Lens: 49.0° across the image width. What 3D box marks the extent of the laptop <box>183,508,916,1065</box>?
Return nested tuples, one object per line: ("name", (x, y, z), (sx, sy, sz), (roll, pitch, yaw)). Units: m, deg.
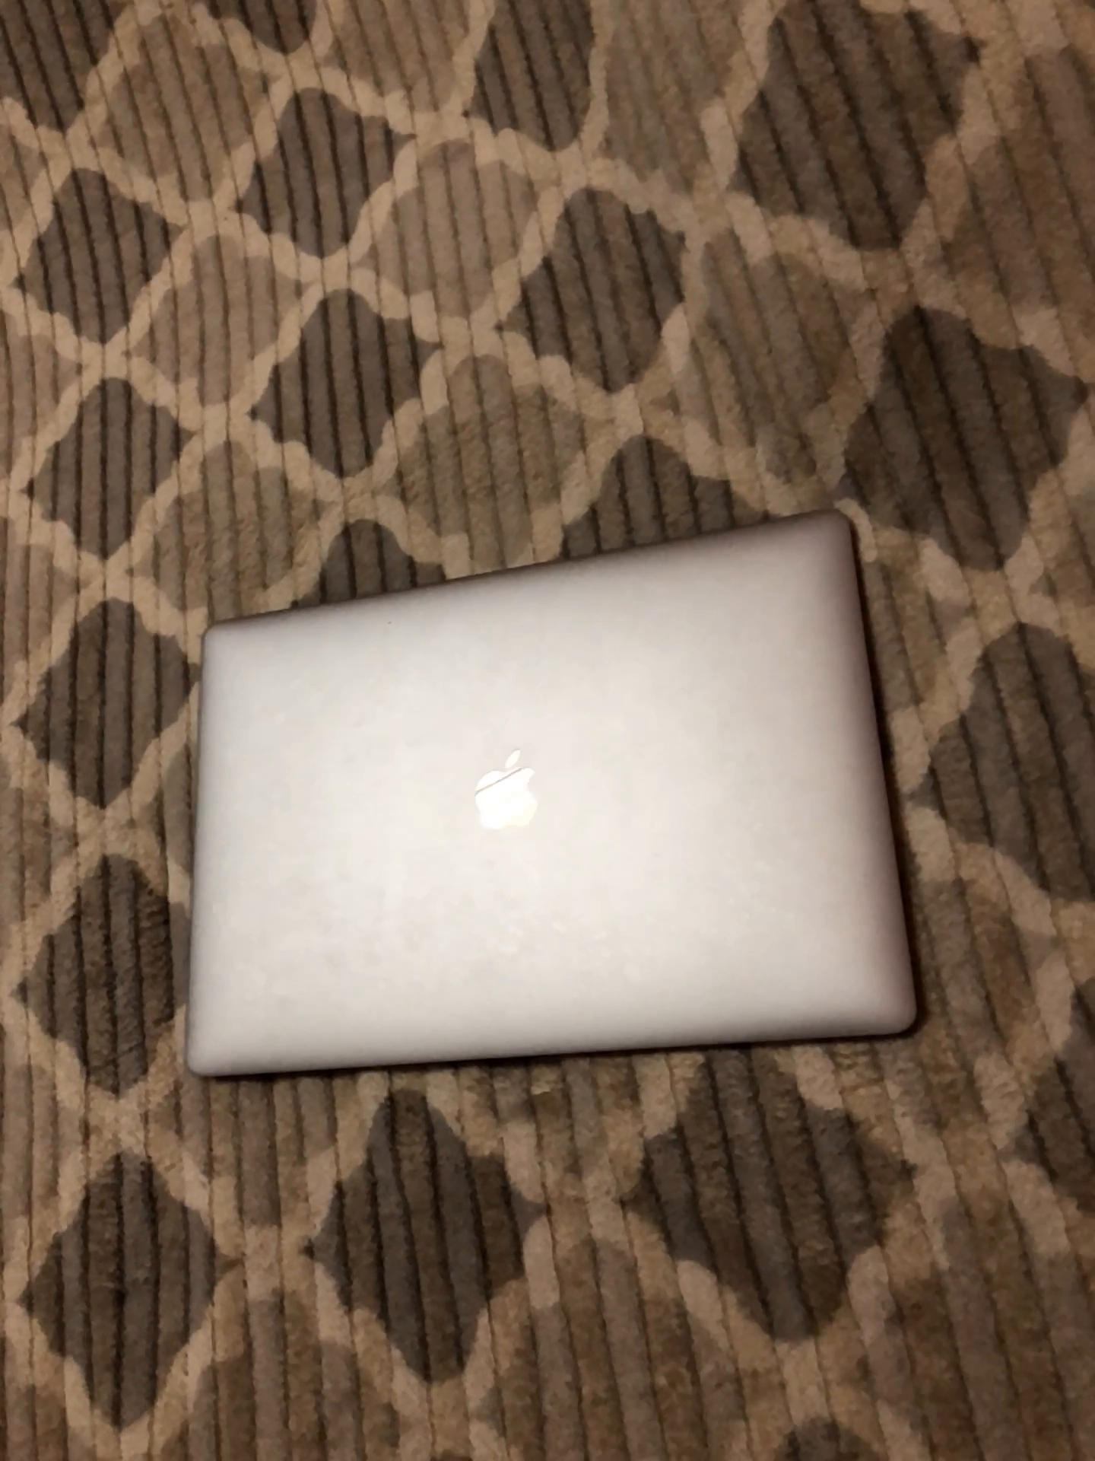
("laptop", (-0.020, 0.032, 0.599), (0.358, 0.007, 0.246), (-8, 71, 17))
